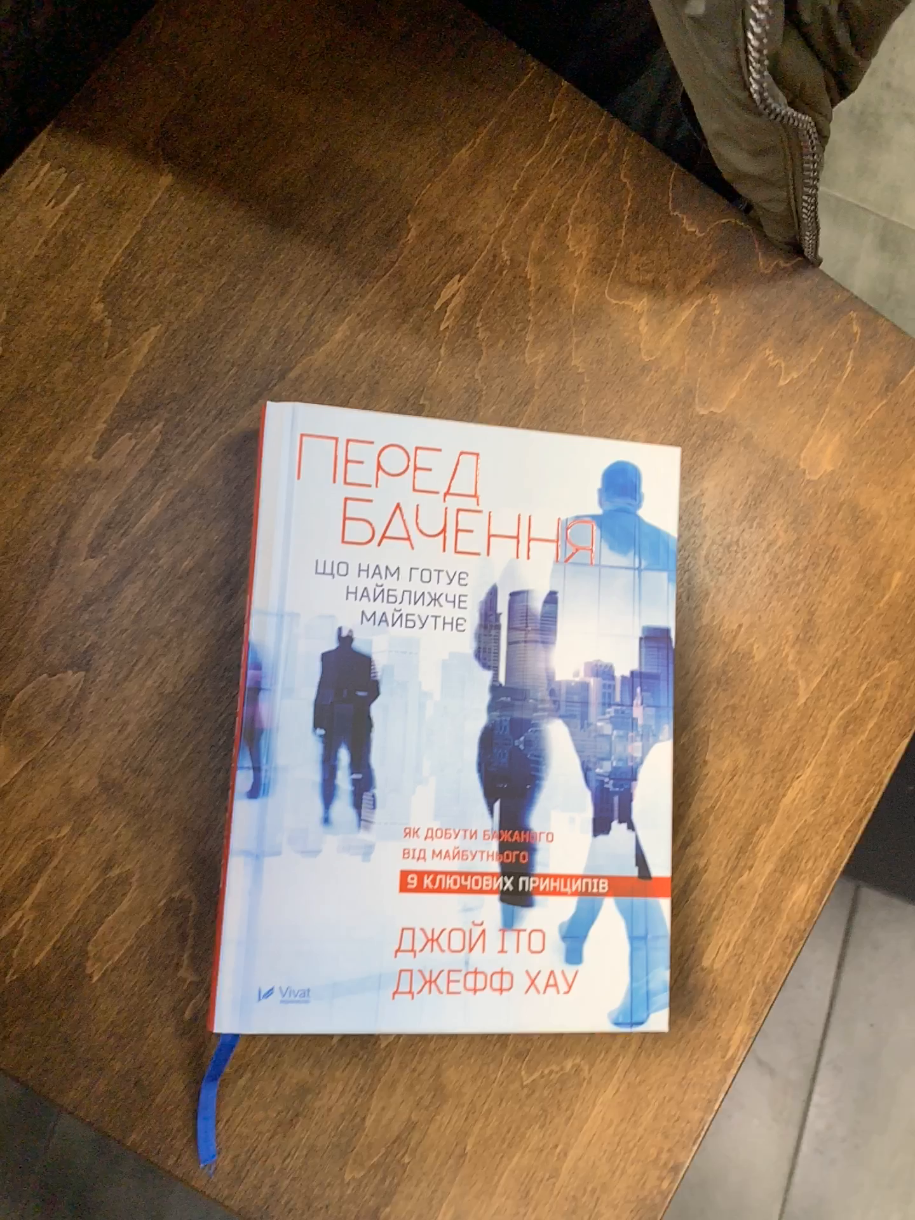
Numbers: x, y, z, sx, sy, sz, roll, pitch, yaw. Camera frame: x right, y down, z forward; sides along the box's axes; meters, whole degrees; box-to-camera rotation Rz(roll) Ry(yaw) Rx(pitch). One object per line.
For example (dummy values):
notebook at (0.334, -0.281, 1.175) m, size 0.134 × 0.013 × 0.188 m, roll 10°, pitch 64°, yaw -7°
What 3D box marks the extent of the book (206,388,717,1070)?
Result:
book at (0.005, 0.038, 0.306) m, size 0.149 × 0.040 × 0.196 m, roll 5°, pitch 81°, yaw -11°
